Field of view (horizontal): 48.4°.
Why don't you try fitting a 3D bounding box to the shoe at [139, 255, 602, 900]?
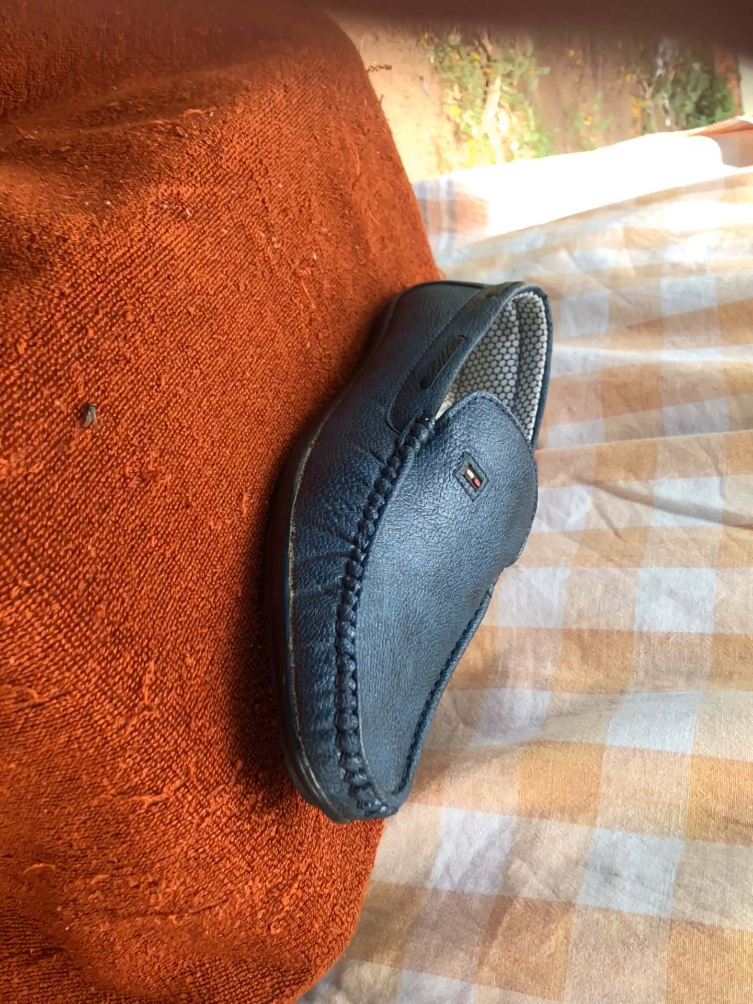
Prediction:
[{"bbox_3d":[0.025,0.008,0.350,0.100,0.089,0.261,66,32,-33],"label":"shoe"}]
